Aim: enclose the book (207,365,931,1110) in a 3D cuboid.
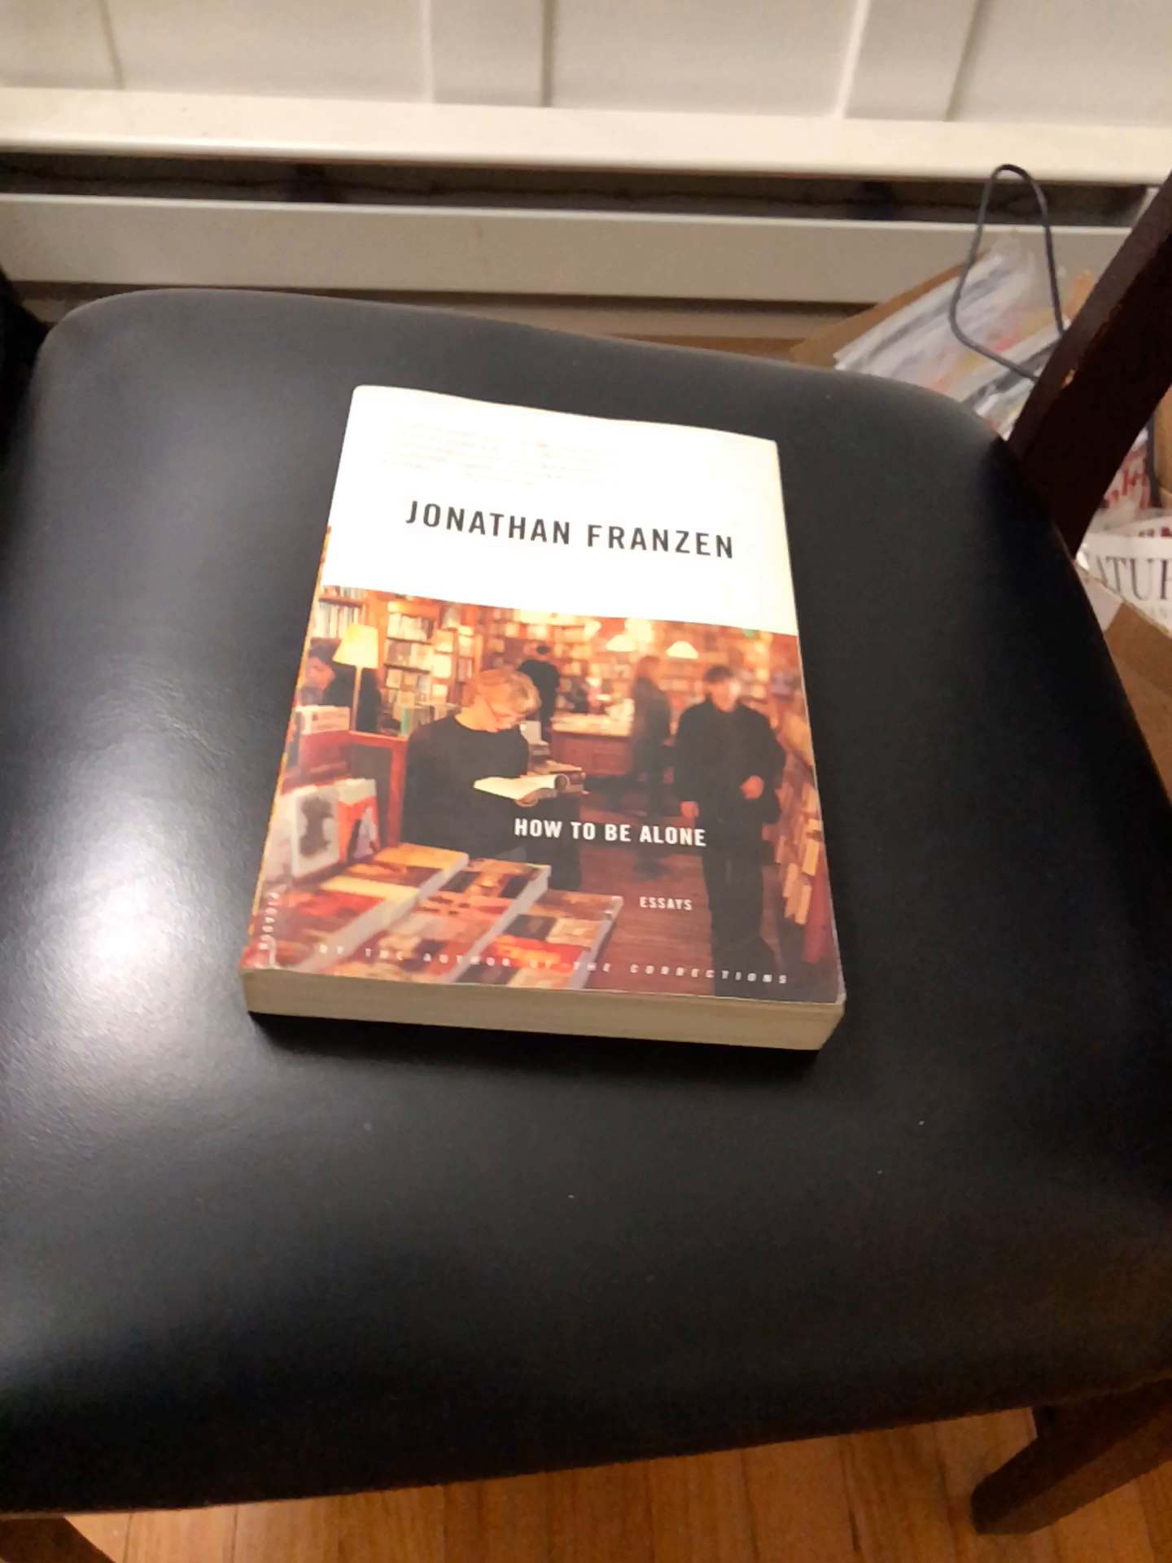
[{"bbox_3d":[-0.001,-0.027,0.373,0.160,0.040,0.231,3,53,-2],"label":"book"}]
